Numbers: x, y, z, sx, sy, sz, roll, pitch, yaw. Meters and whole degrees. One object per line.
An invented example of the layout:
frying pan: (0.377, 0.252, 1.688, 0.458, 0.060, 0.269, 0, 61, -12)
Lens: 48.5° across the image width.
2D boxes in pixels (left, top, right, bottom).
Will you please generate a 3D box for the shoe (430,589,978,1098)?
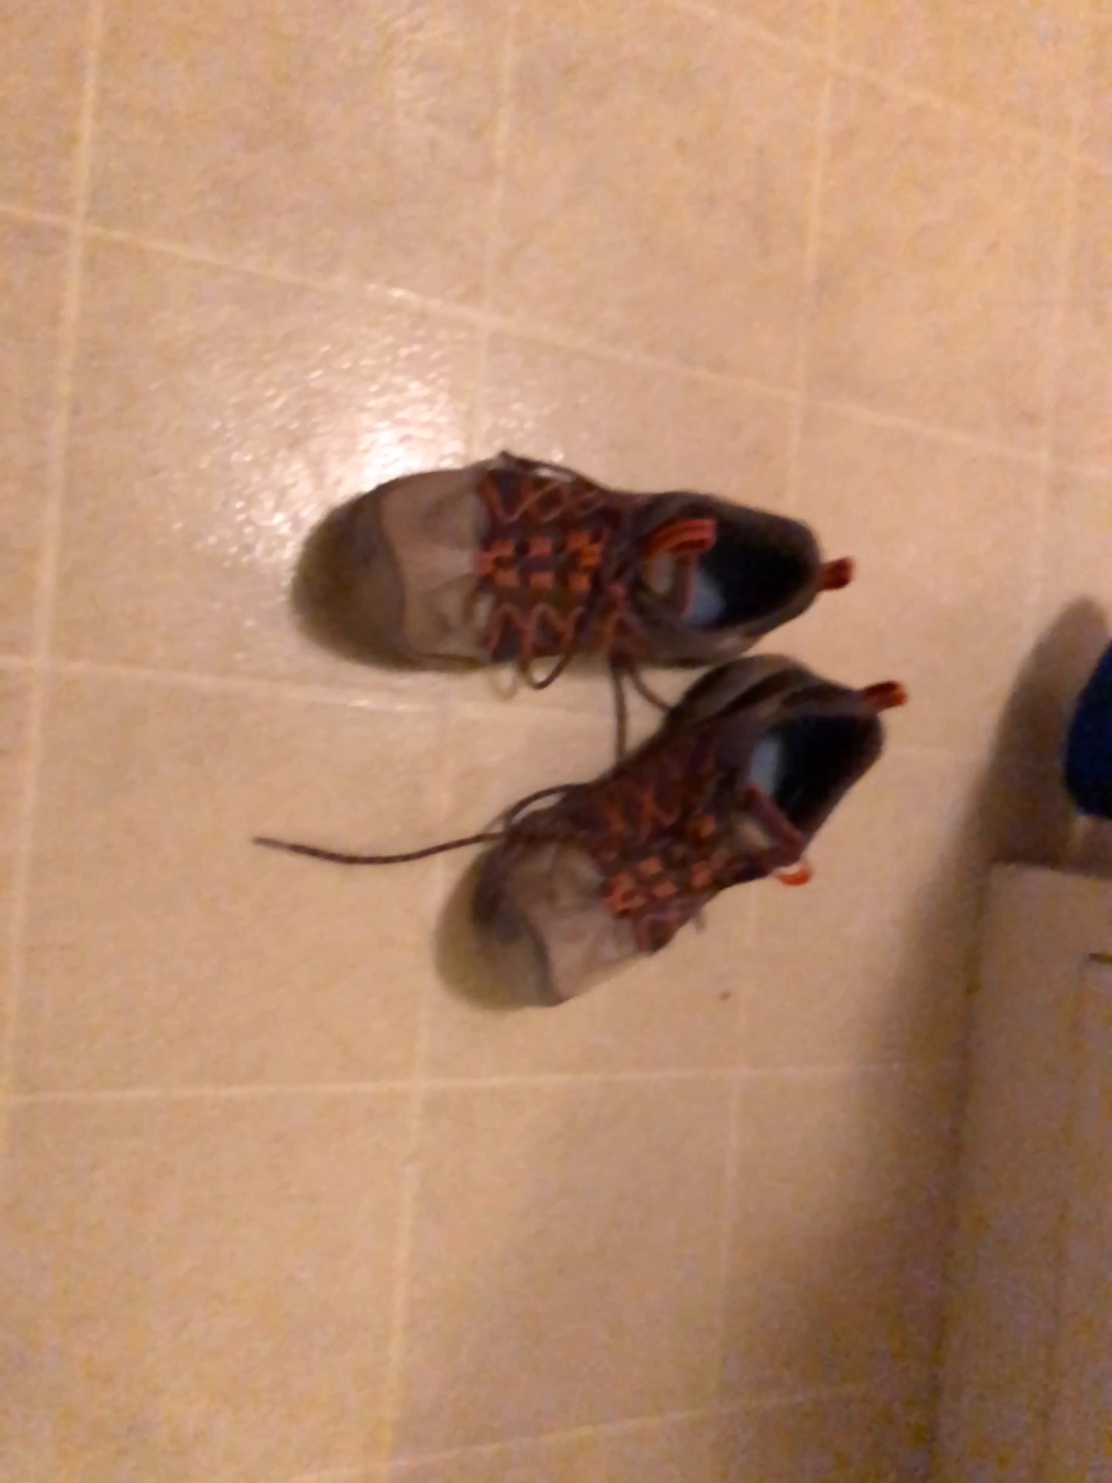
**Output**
shoe: (0.089, 0.048, 0.730, 0.283, 0.122, 0.127, -40, 107, -17)

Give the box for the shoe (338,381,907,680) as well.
shoe: (0.038, -0.105, 0.696, 0.293, 0.122, 0.127, 1, 92, -24)
